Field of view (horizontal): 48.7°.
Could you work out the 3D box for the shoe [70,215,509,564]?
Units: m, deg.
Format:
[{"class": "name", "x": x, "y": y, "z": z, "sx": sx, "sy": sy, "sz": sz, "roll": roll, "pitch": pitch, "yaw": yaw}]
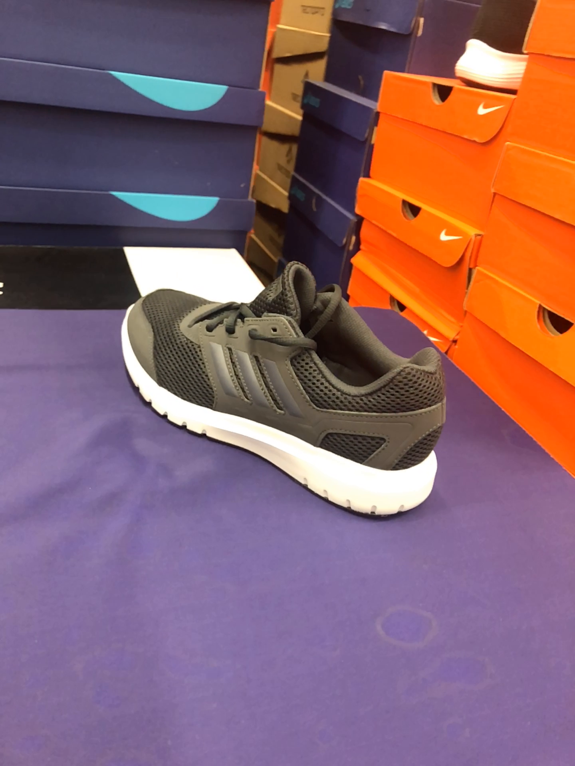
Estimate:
[{"class": "shoe", "x": -0.015, "y": -0.016, "z": 0.436, "sx": 0.280, "sy": 0.106, "sz": 0.102, "roll": 27, "pitch": 34, "yaw": 27}]
